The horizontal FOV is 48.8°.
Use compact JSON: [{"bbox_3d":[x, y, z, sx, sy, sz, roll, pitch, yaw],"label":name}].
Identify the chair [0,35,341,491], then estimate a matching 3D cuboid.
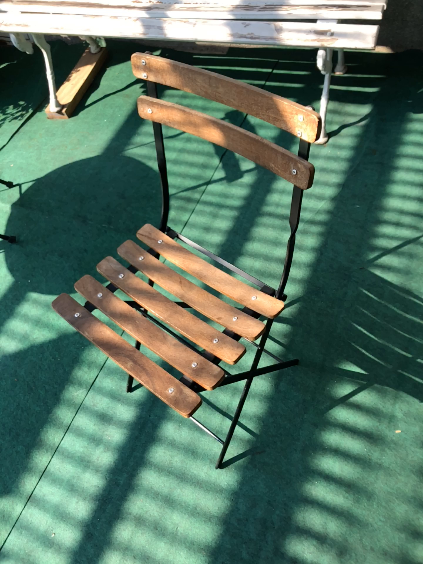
[{"bbox_3d":[-0.068,0.013,0.855,0.391,0.656,0.401,32,66,28],"label":"chair"}]
